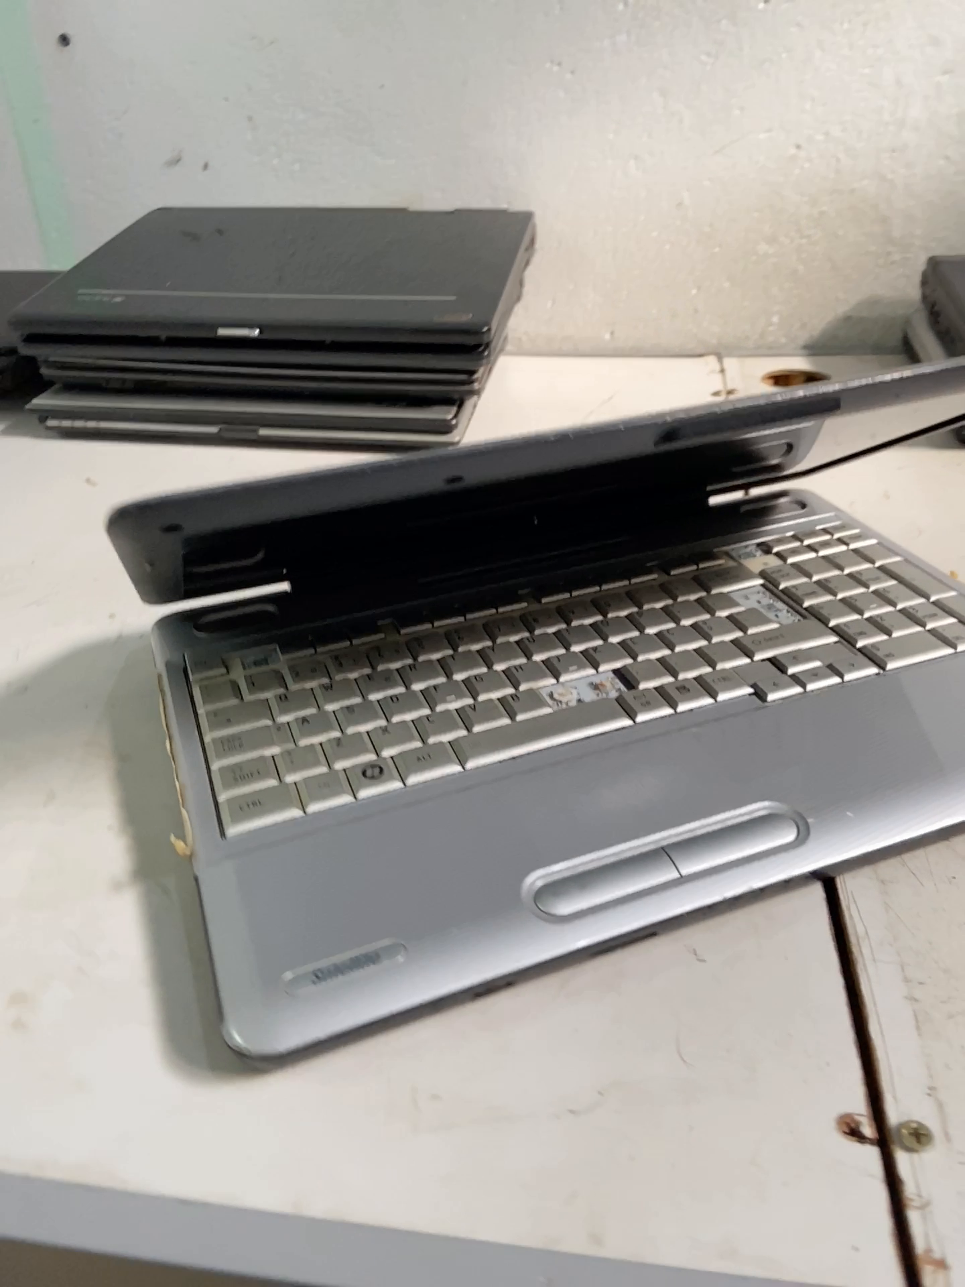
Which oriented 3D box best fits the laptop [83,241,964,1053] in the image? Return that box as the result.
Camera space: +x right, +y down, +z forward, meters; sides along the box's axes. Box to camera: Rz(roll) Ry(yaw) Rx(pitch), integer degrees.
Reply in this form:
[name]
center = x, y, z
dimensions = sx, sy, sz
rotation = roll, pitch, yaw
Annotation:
[laptop]
center = 0.054, -0.048, 0.404
dimensions = 0.372, 0.143, 0.257
rotation = -13, 34, -18
